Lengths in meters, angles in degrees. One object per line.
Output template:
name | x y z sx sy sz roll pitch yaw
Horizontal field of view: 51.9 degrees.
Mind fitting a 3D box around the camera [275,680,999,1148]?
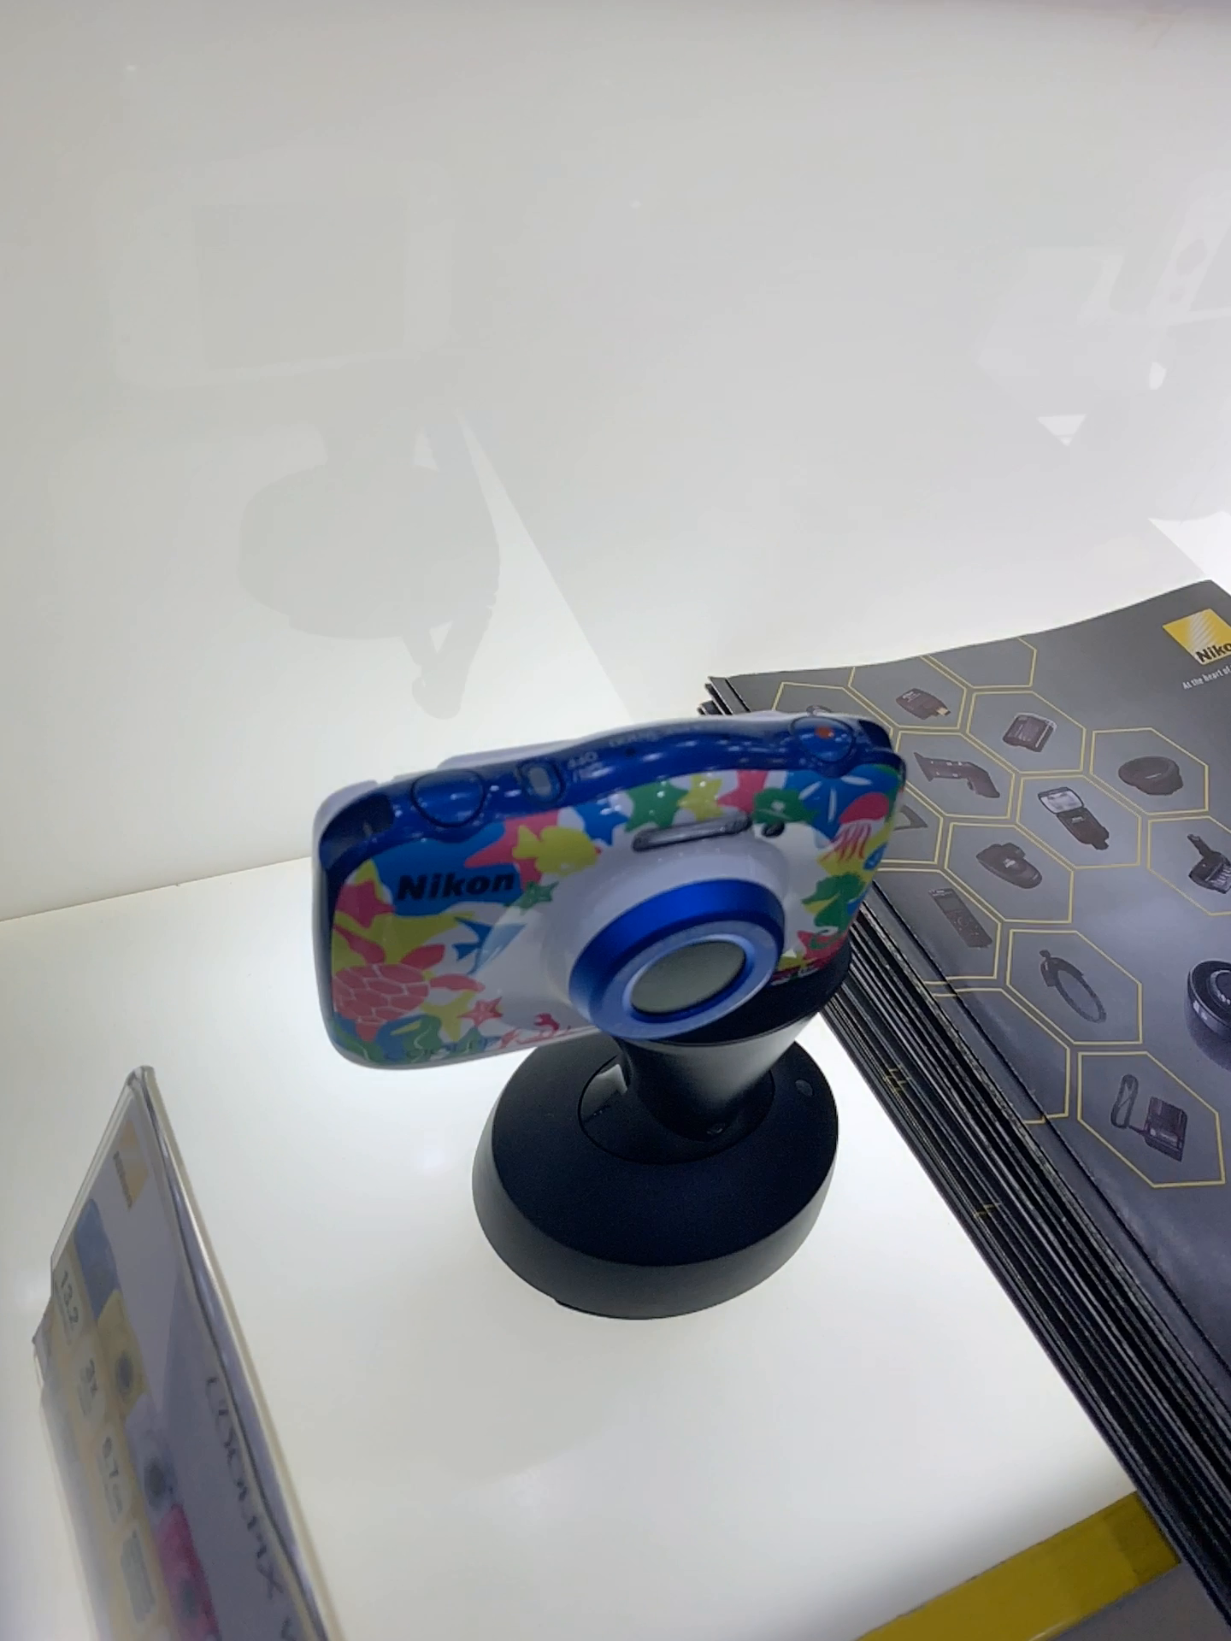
camera | 0.001 0.016 0.239 0.120 0.060 0.040 -9 49 -20
